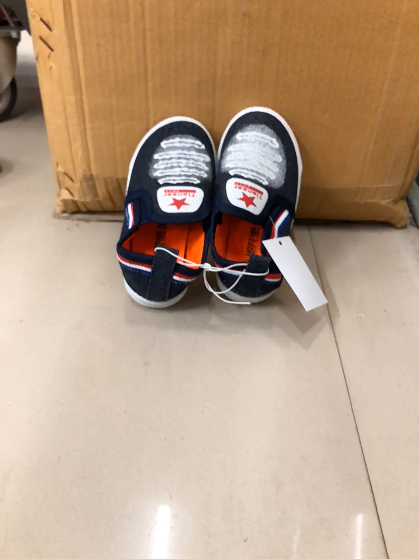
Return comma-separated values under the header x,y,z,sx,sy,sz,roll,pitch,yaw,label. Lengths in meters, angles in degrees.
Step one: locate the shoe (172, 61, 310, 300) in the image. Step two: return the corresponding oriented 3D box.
x,y,z,sx,sy,sz,roll,pitch,yaw,label
0.025,-0.070,0.366,0.080,0.160,0.080,6,1,6,shoe
